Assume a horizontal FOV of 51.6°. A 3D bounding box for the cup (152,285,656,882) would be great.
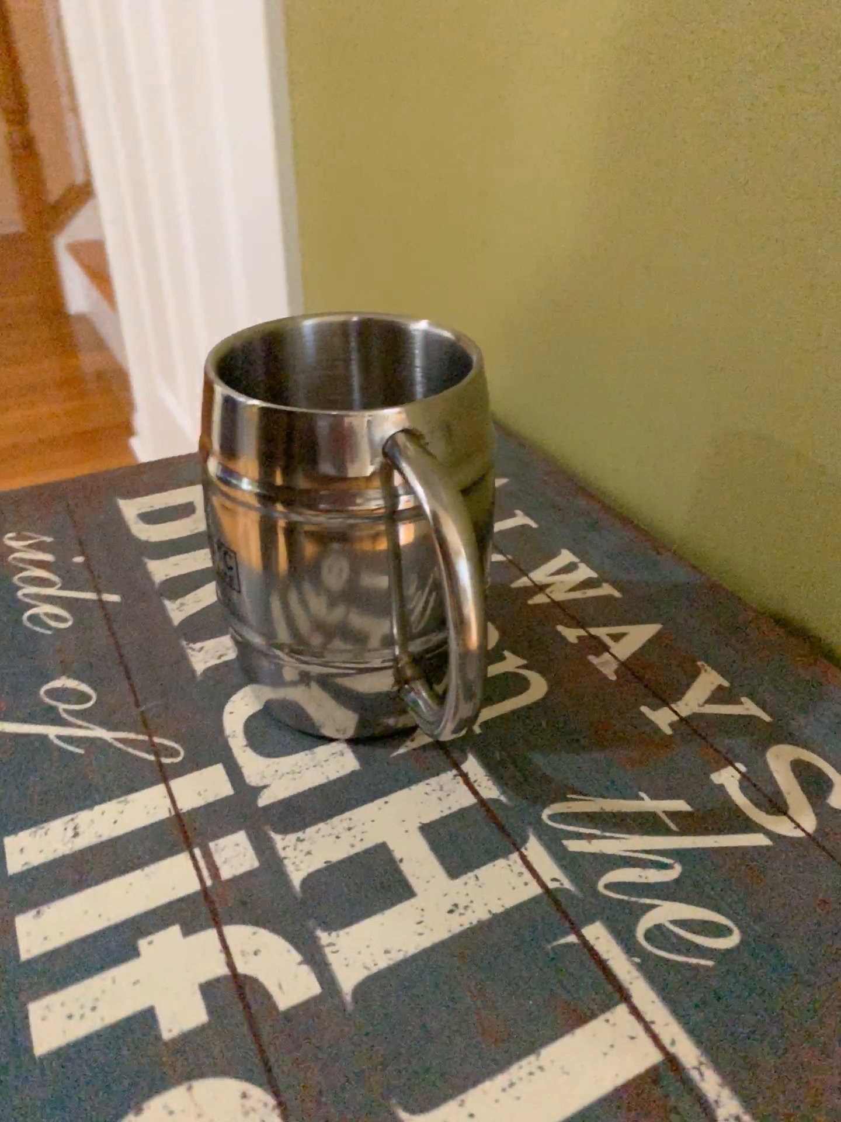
[{"bbox_3d":[-0.013,-0.005,0.267,0.089,0.113,0.129,-16,37,-23],"label":"cup"}]
